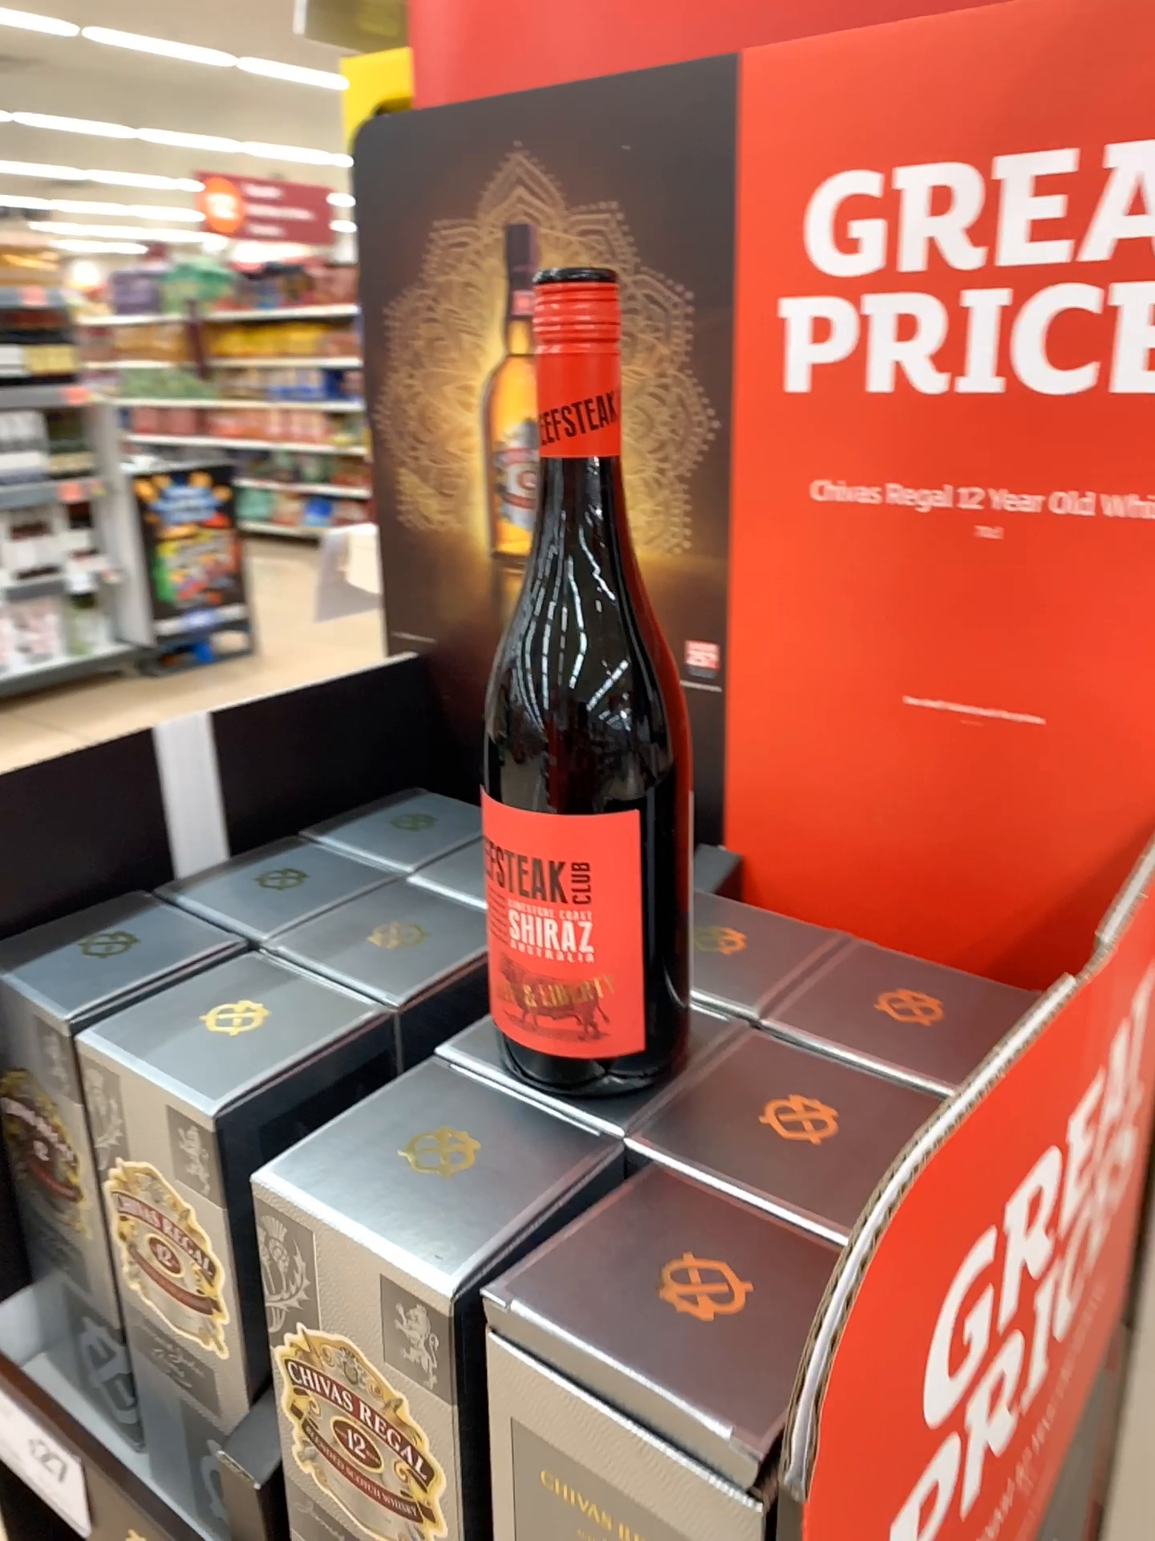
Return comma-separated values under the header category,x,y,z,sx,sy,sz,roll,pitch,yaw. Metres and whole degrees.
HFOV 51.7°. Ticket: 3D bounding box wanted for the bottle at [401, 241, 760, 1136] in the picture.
category,x,y,z,sx,sy,sz,roll,pitch,yaw
bottle,0.003,-0.028,0.422,0.080,0.284,0.083,-1,19,0
